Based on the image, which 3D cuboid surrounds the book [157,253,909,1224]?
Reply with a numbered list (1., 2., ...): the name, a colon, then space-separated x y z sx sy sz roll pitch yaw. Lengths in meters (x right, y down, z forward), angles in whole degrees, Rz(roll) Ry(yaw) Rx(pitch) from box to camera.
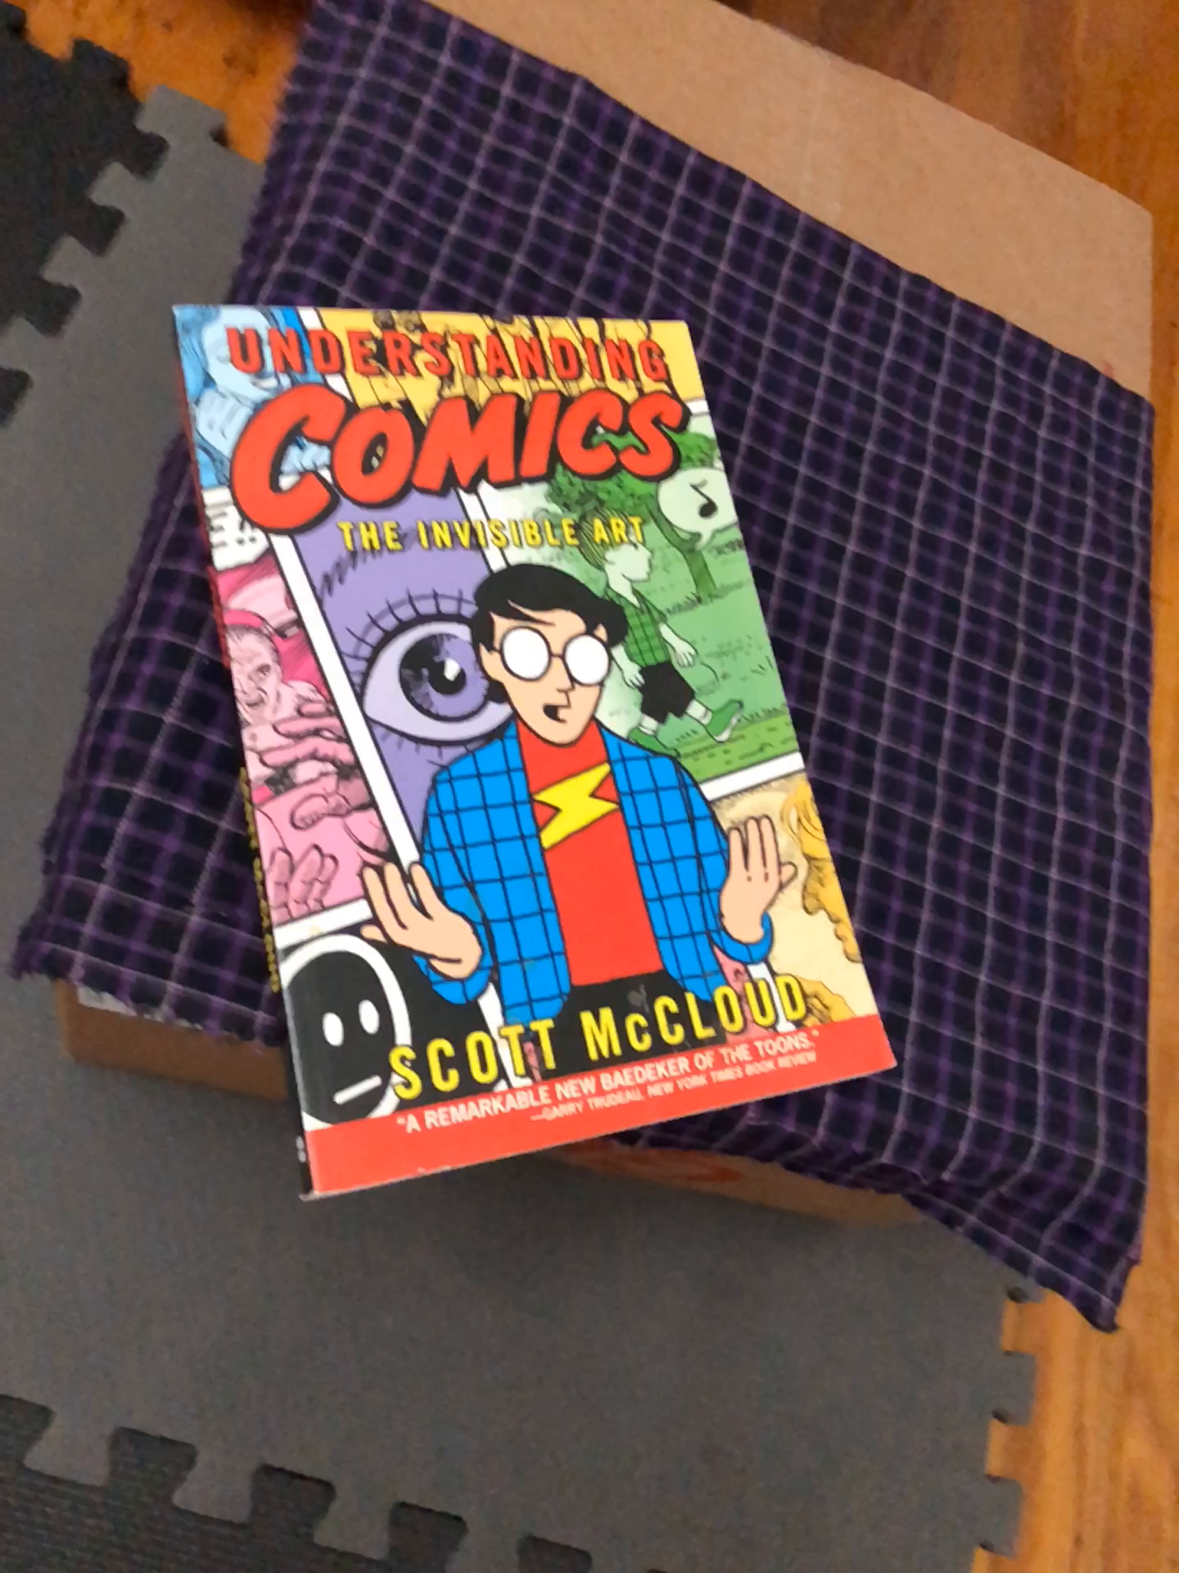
1. book: -0.020 -0.032 0.380 0.170 0.020 0.270 -6 73 -23
